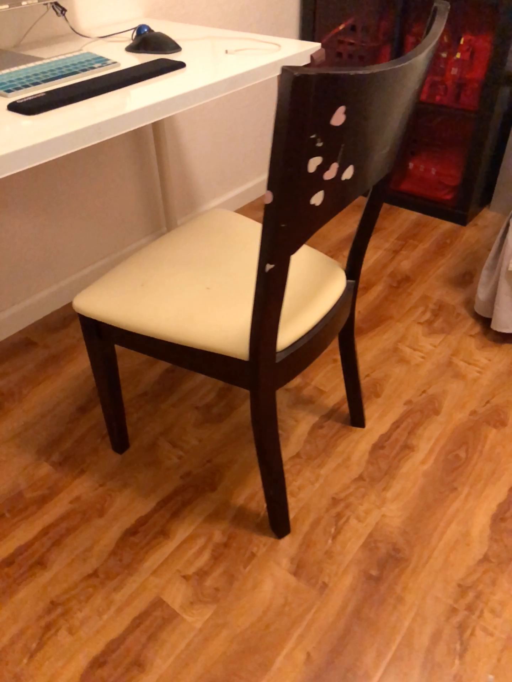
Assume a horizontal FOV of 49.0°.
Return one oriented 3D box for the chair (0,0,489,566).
[{"bbox_3d":[-0.011,-0.142,1.048,0.511,0.845,0.532,23,44,24],"label":"chair"}]
